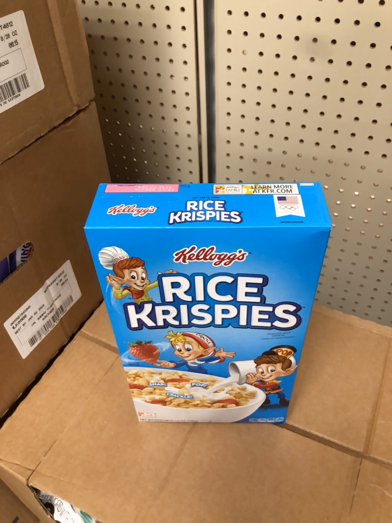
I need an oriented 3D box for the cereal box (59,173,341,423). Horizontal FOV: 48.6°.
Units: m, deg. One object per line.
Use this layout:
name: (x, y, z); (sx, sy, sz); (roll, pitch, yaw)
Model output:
cereal box: (0.011, 0.066, 0.466); (0.210, 0.329, 0.070); (0, 46, 4)
